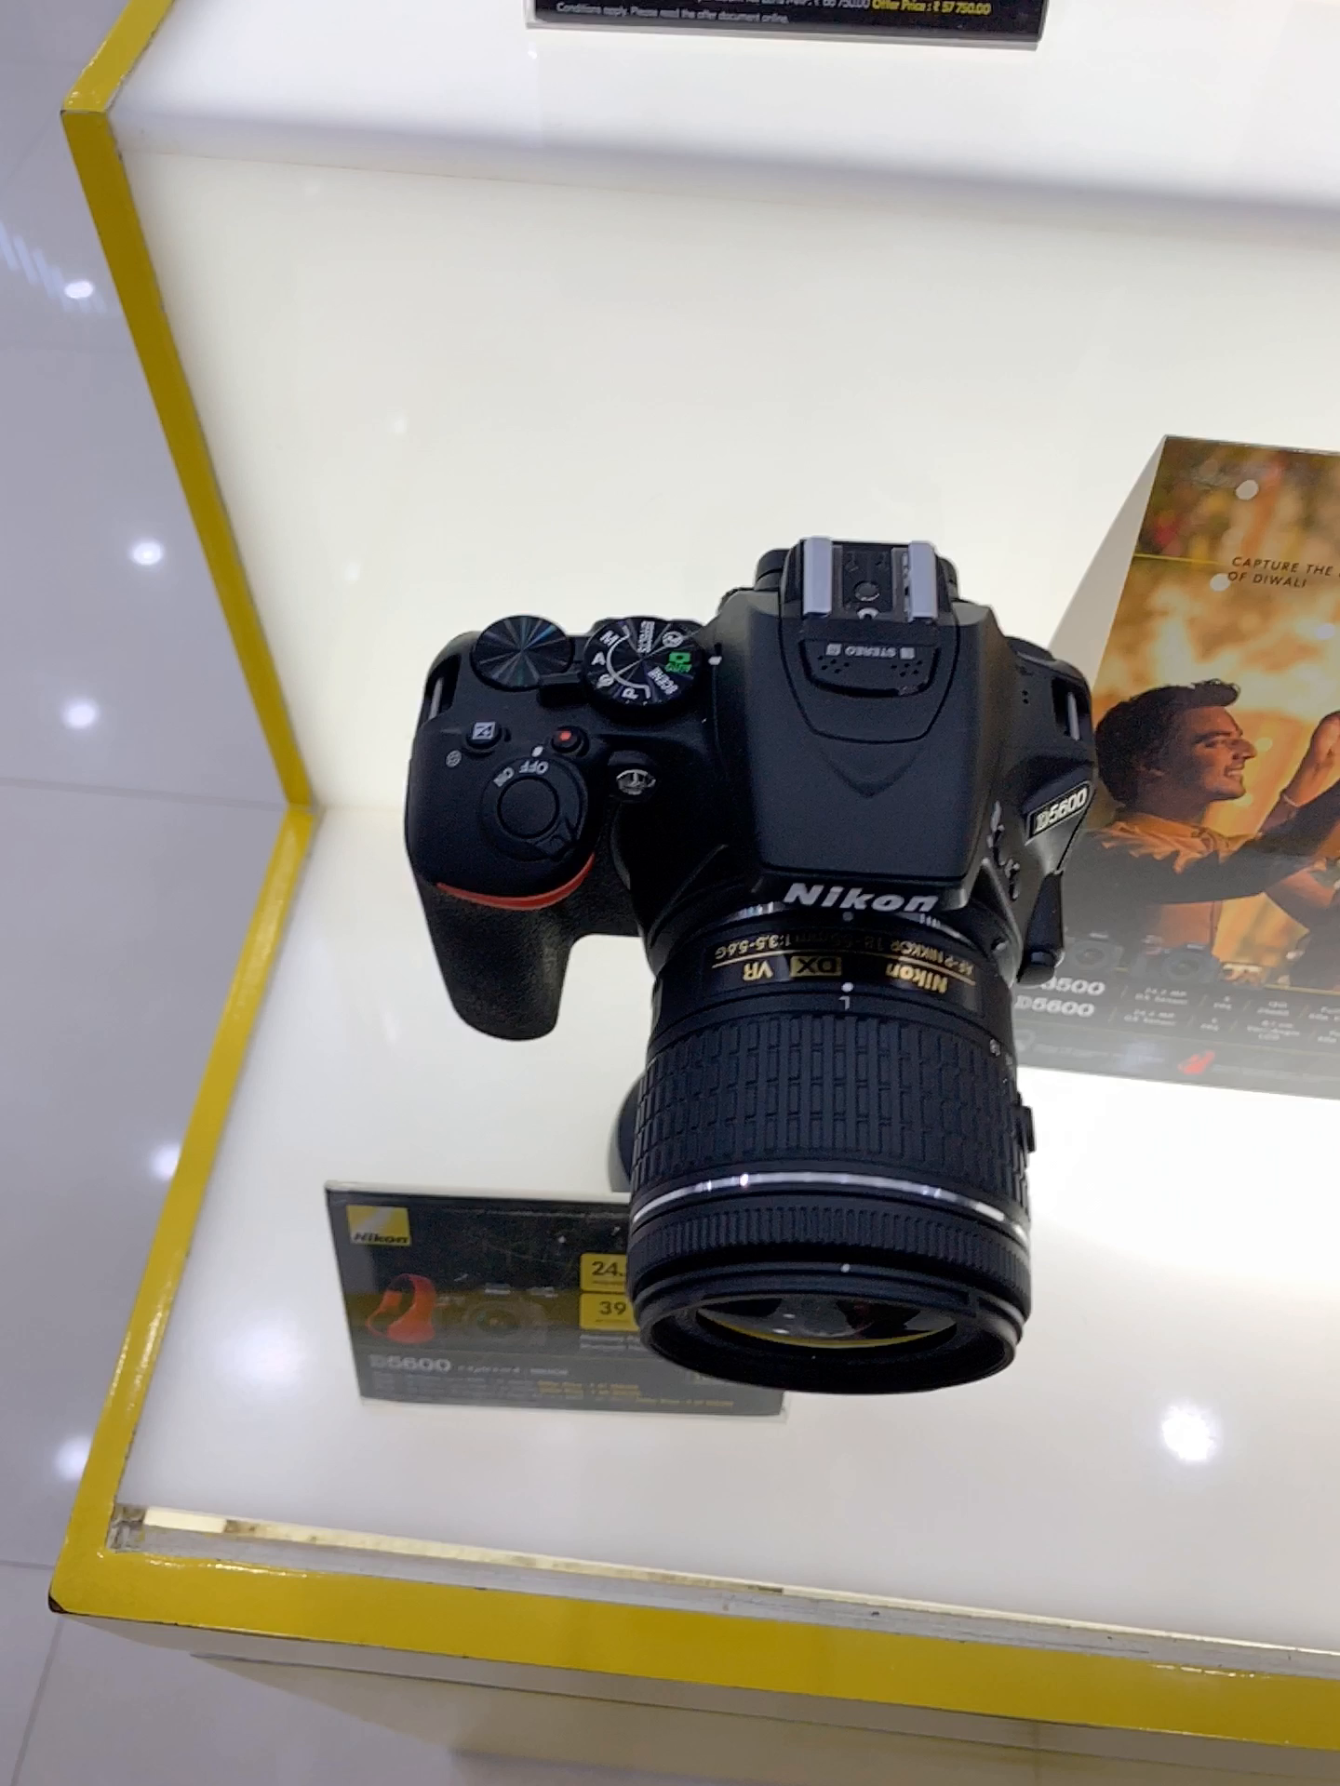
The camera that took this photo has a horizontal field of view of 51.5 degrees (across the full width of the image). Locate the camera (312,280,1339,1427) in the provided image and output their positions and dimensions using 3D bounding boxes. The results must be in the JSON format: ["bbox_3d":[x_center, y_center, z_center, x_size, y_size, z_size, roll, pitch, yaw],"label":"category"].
[{"bbox_3d":[0.025,-0.010,0.229,0.120,0.090,0.160,3,56,0],"label":"camera"}]
